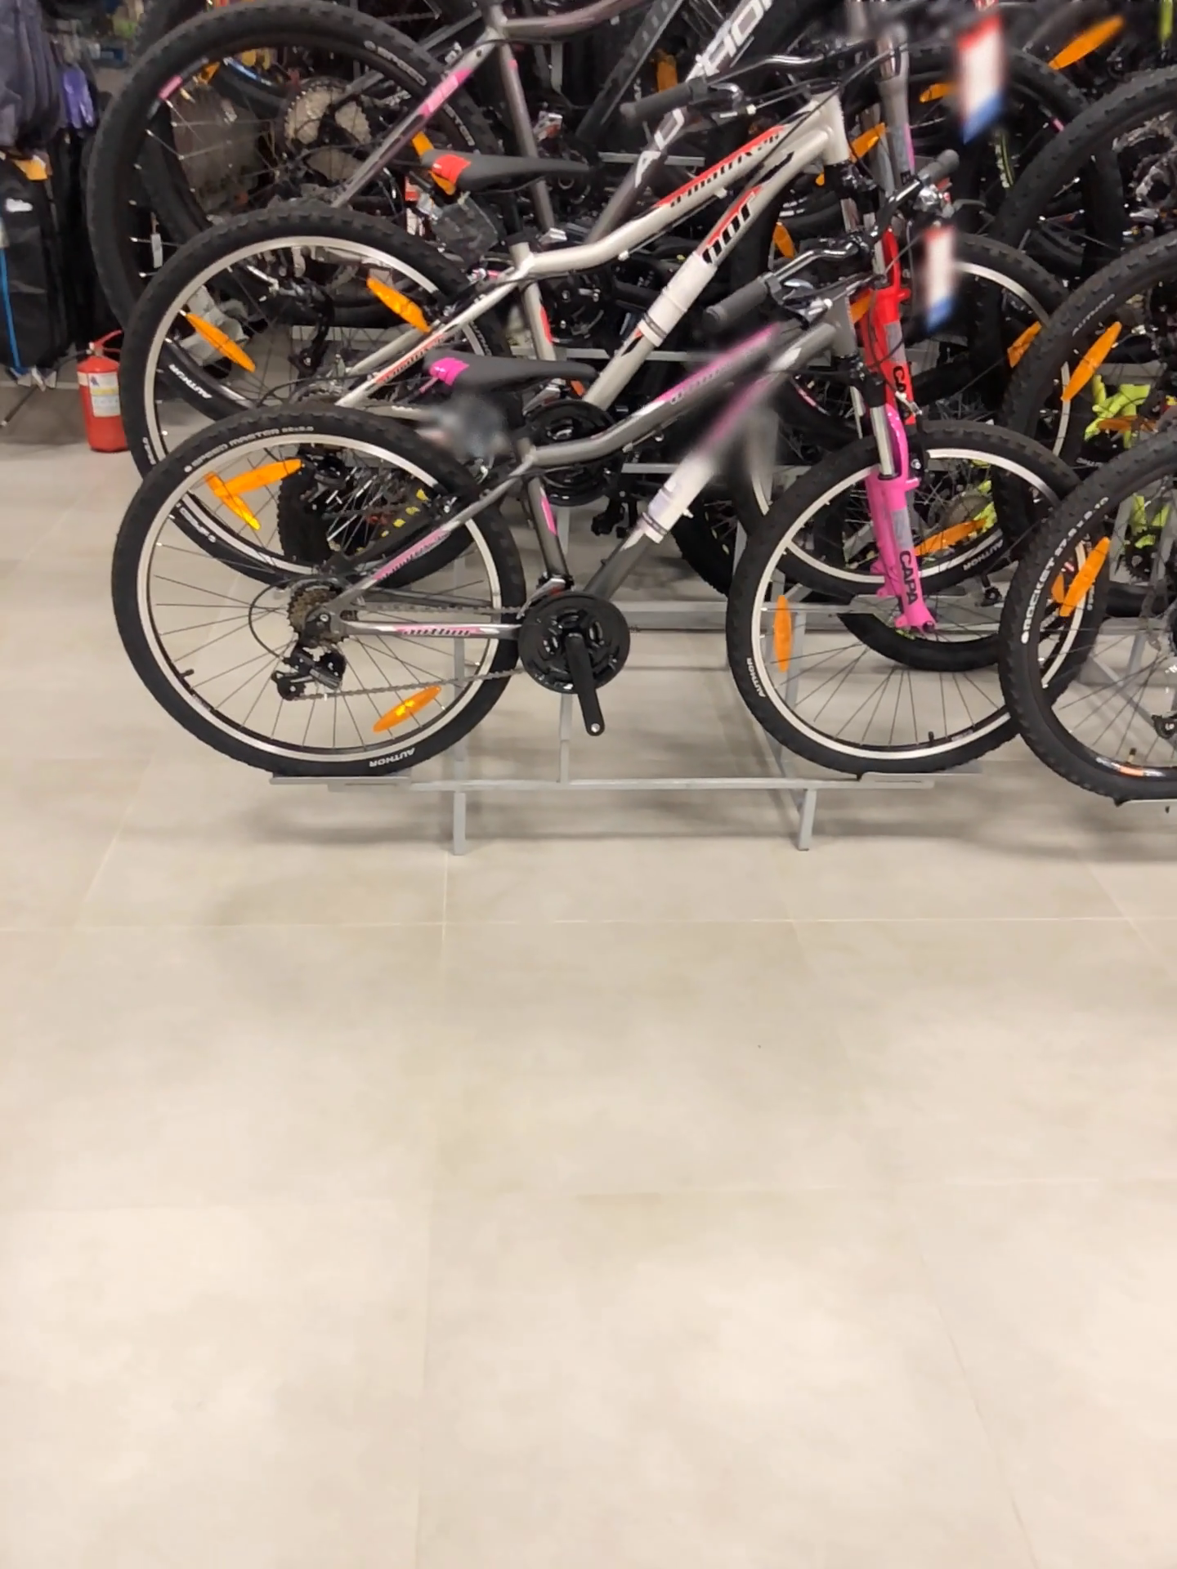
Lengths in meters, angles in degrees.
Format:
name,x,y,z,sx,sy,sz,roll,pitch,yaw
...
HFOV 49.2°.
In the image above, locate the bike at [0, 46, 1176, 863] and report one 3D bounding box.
name,x,y,z,sx,sy,sz,roll,pitch,yaw
bike,0.076,-0.529,2.004,1.605,0.991,0.601,-3,28,-3
